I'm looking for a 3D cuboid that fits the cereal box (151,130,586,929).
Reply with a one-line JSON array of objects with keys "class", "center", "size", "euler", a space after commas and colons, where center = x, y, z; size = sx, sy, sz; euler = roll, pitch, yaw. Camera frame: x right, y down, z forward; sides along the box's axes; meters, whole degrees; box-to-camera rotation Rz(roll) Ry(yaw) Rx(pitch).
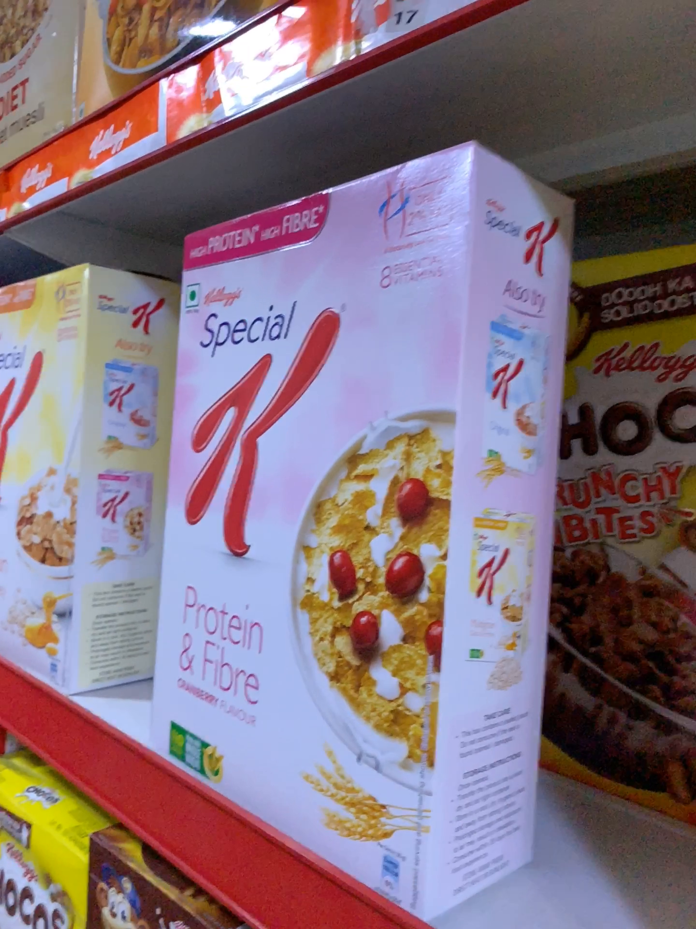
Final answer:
[{"class": "cereal box", "center": [-0.003, 0.017, 0.296], "size": [0.060, 0.240, 0.170], "euler": [4, 0, -44]}]
